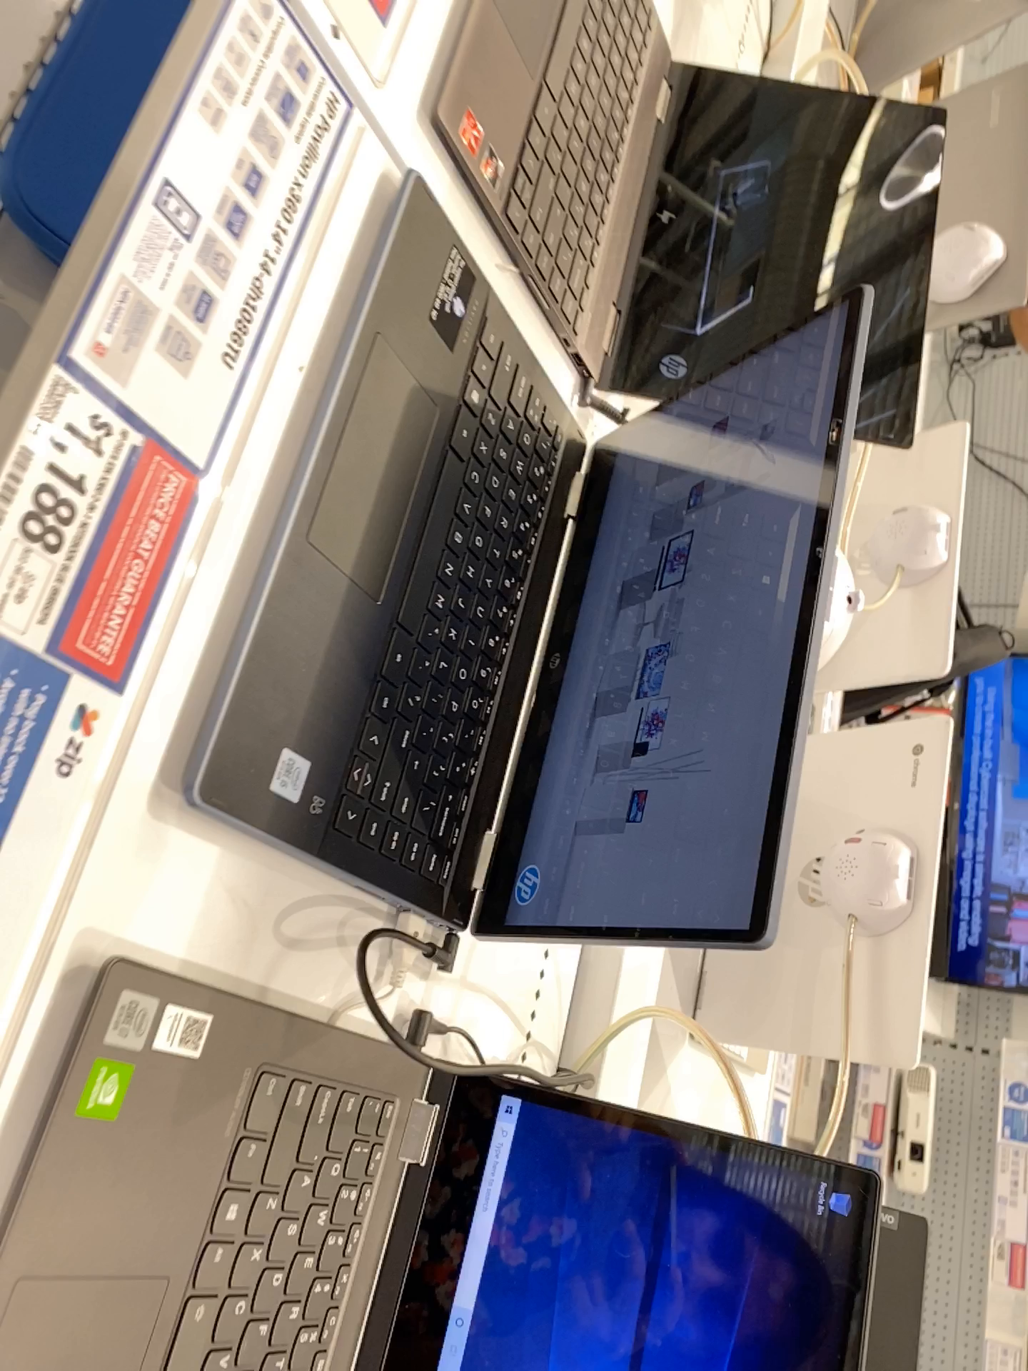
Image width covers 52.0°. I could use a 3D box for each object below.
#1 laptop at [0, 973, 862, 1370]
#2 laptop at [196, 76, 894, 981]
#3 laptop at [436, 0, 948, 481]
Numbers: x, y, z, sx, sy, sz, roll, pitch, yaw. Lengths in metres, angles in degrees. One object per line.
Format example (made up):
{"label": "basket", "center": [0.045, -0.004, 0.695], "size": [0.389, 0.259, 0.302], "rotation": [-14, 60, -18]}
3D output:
{"label": "laptop", "center": [-0.023, 0.303, 0.373], "size": [0.295, 0.199, 0.306], "rotation": [46, 52, -51]}
{"label": "laptop", "center": [0.045, -0.055, 0.489], "size": [0.212, 0.189, 0.313], "rotation": [43, 55, -53]}
{"label": "laptop", "center": [0.149, -0.361, 0.667], "size": [0.326, 0.173, 0.325], "rotation": [42, 54, -51]}
